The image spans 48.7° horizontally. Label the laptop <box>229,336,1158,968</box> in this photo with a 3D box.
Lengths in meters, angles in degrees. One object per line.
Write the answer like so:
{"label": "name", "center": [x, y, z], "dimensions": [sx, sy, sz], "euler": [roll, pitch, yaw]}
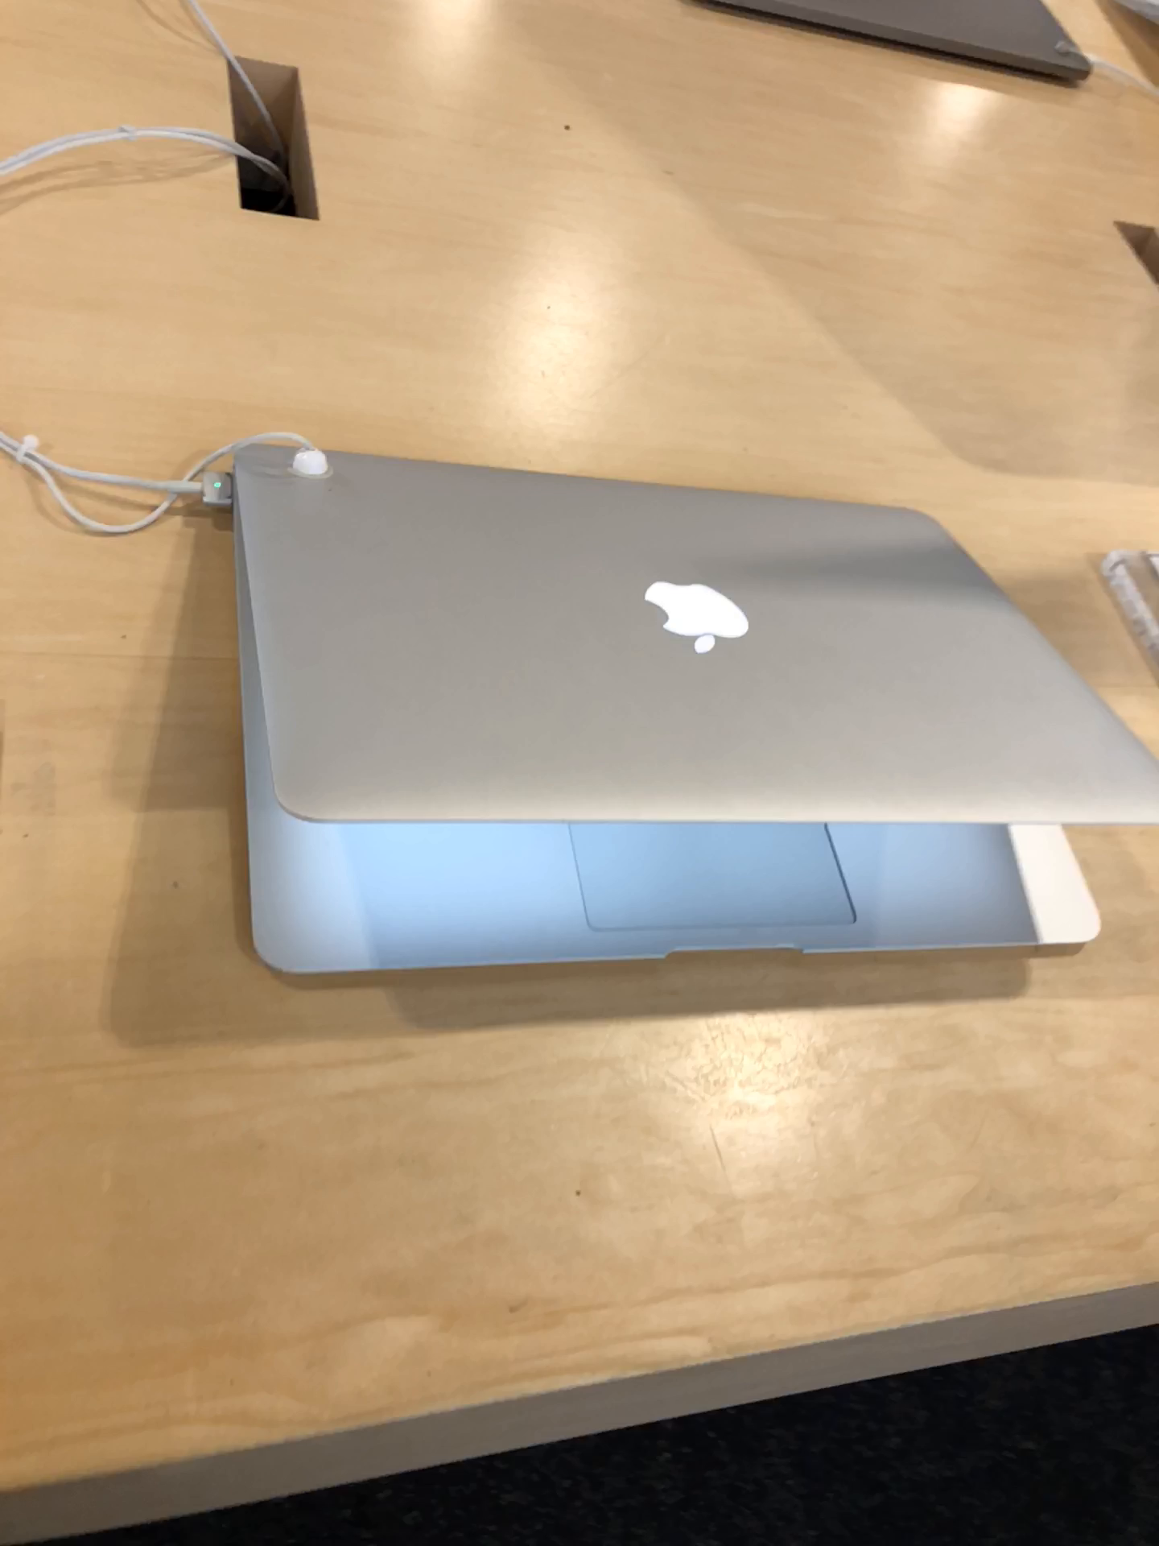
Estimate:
{"label": "laptop", "center": [0.040, -0.045, 0.473], "dimensions": [0.315, 0.067, 0.215], "euler": [1, 55, -19]}
